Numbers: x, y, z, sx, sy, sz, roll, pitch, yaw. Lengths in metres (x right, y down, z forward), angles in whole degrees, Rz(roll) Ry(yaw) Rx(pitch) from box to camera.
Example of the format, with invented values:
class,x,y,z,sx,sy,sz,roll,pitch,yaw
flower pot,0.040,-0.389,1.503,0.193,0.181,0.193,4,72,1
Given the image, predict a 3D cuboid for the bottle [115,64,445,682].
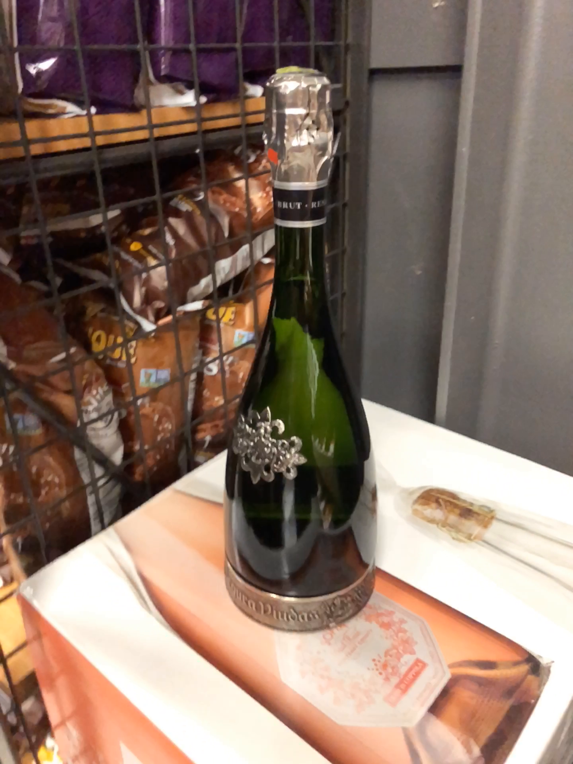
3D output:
class,x,y,z,sx,sy,sz,roll,pitch,yaw
bottle,0.007,-0.002,0.381,0.122,0.332,0.110,12,29,27
